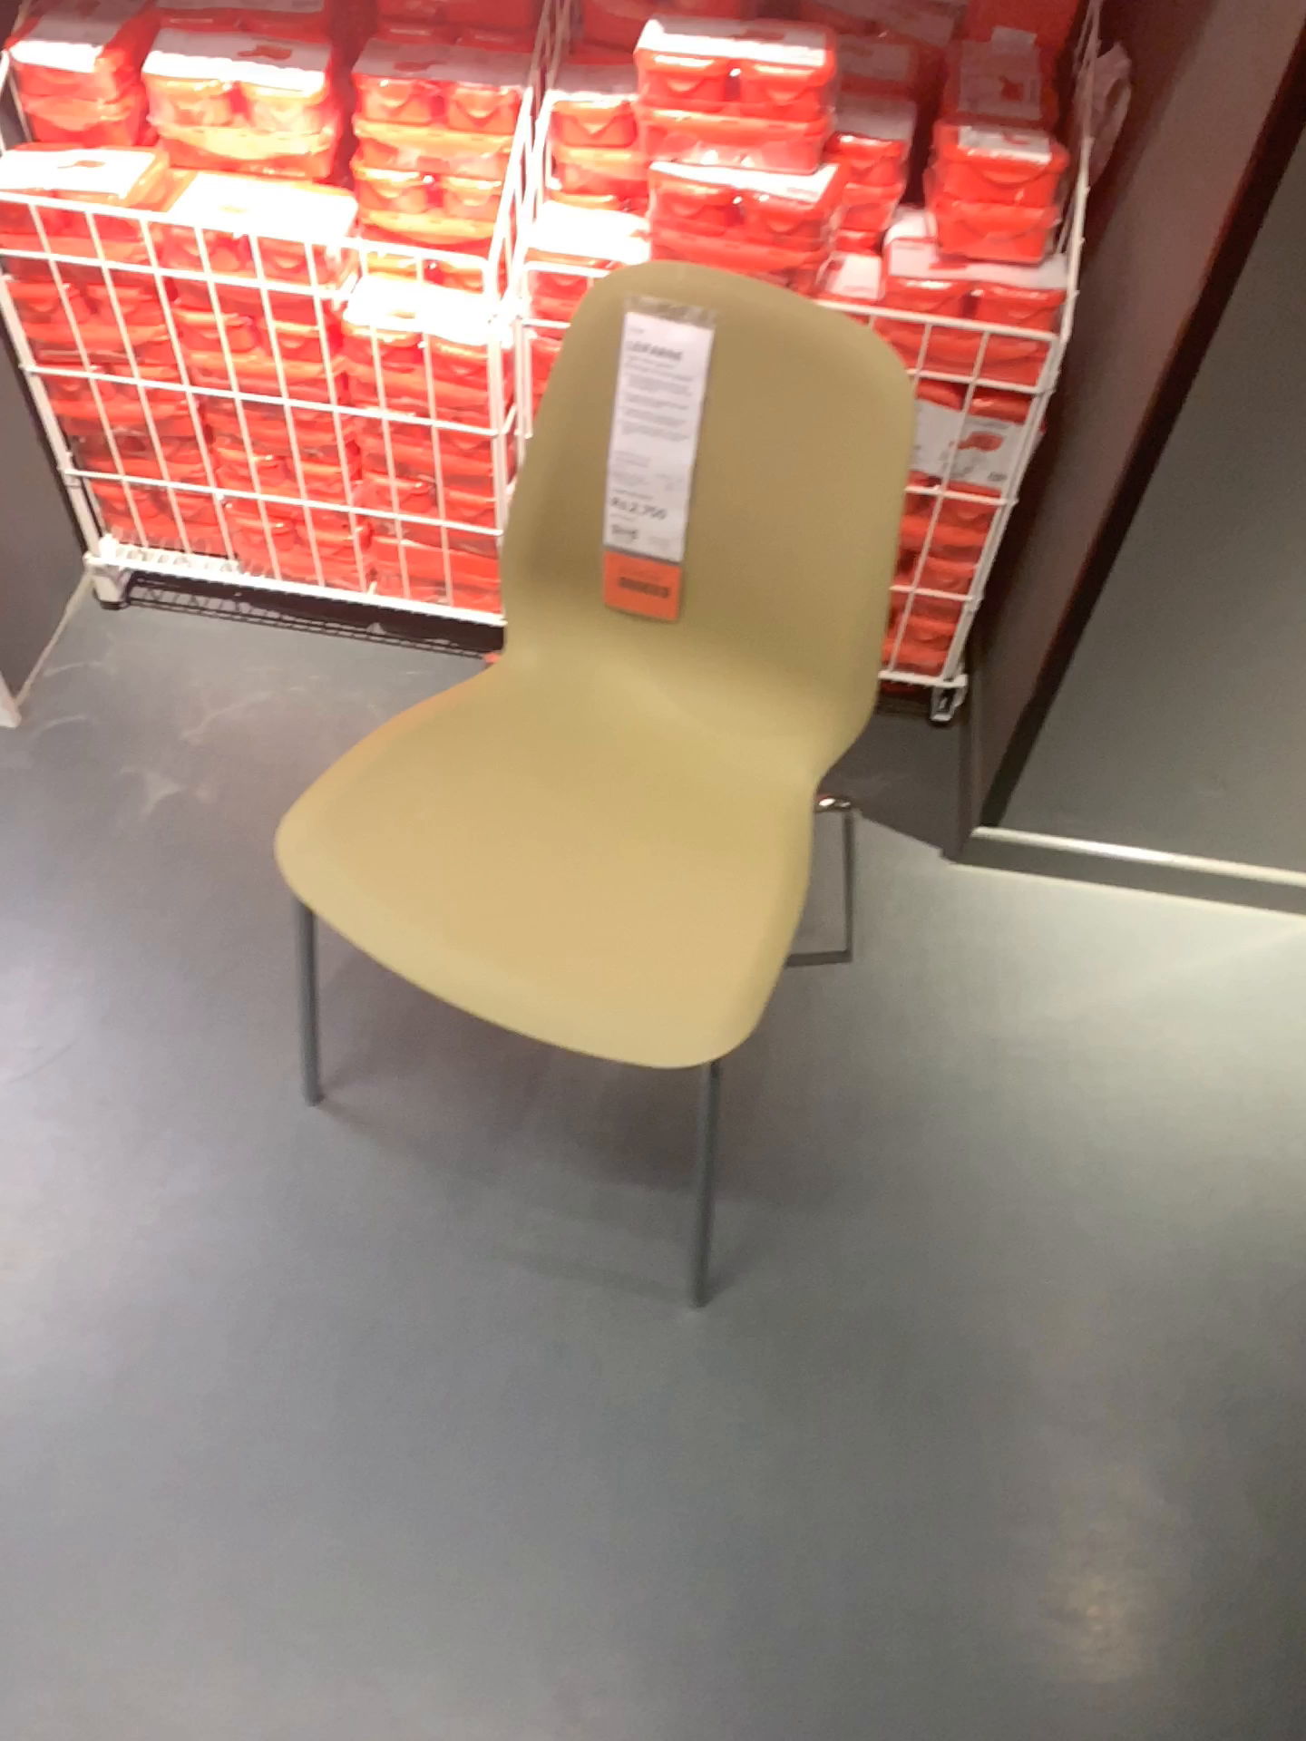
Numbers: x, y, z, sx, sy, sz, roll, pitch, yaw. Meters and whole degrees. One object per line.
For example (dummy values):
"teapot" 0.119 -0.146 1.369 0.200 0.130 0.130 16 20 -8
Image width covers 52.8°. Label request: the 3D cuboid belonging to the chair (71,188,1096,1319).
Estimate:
"chair" -0.035 -0.073 1.203 0.500 0.728 0.551 25 56 14
